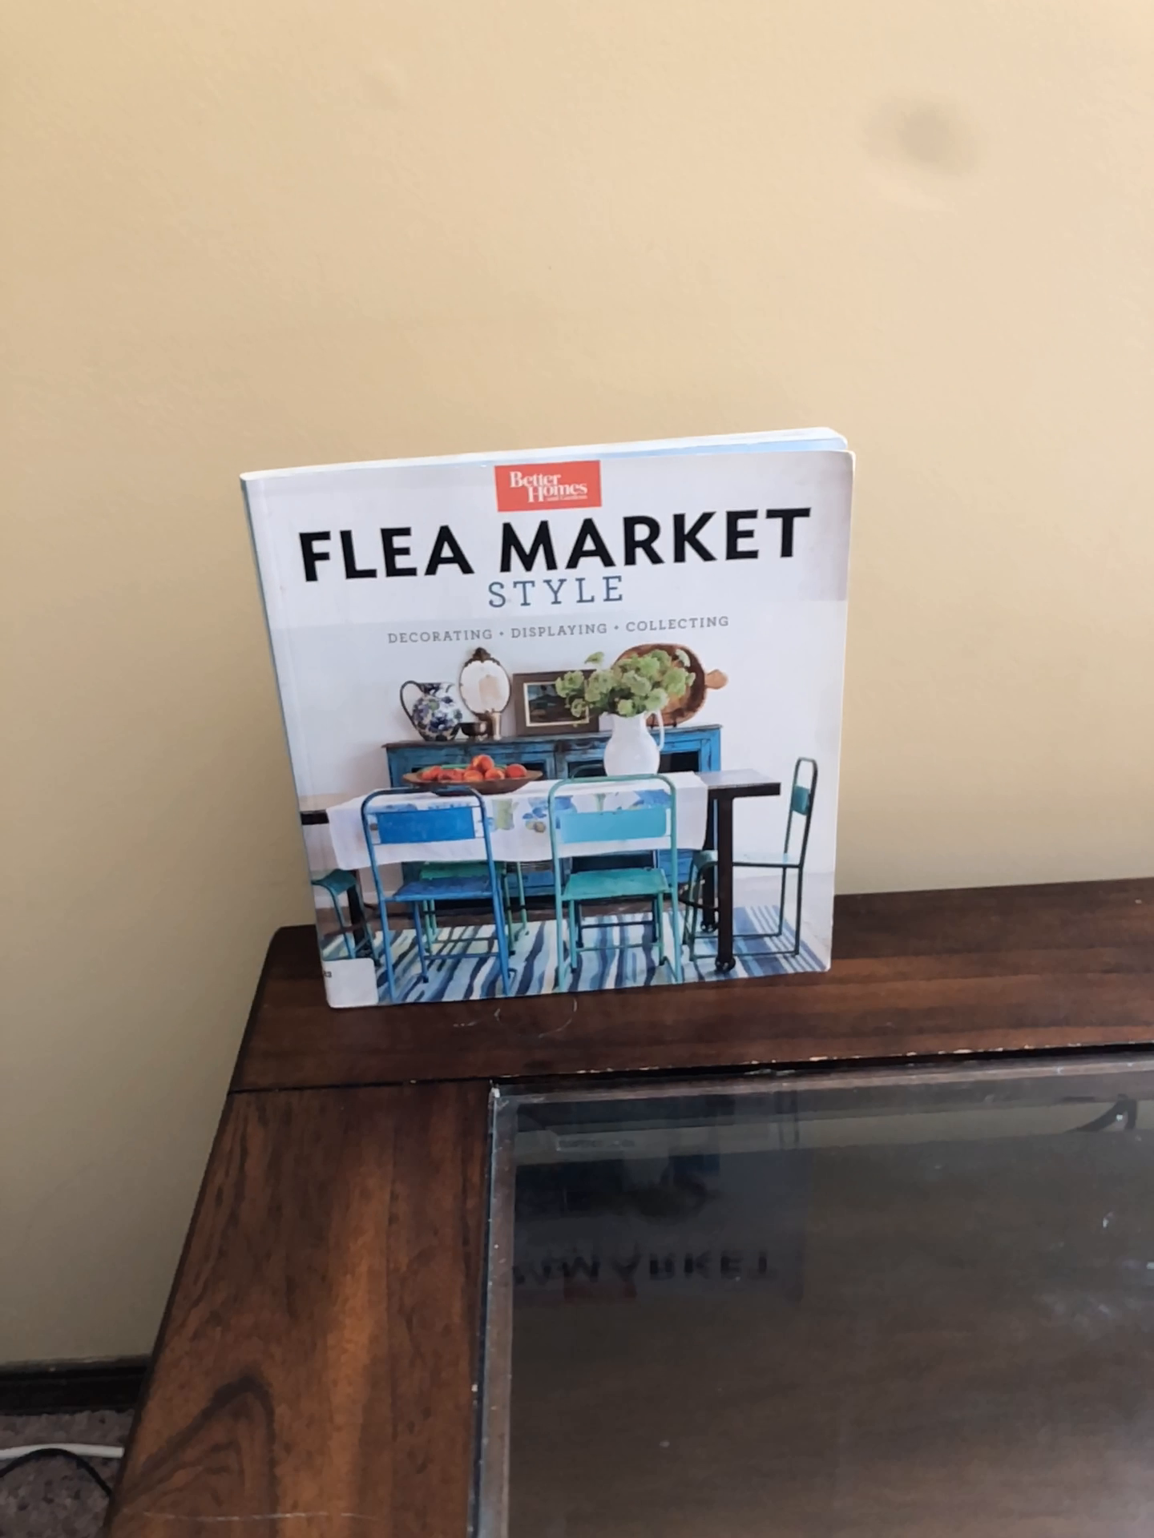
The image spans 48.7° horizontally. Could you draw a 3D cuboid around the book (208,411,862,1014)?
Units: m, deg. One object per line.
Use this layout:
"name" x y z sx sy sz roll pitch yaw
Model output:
"book" -0.008 -0.014 0.525 0.233 0.239 0.032 -5 29 -2
